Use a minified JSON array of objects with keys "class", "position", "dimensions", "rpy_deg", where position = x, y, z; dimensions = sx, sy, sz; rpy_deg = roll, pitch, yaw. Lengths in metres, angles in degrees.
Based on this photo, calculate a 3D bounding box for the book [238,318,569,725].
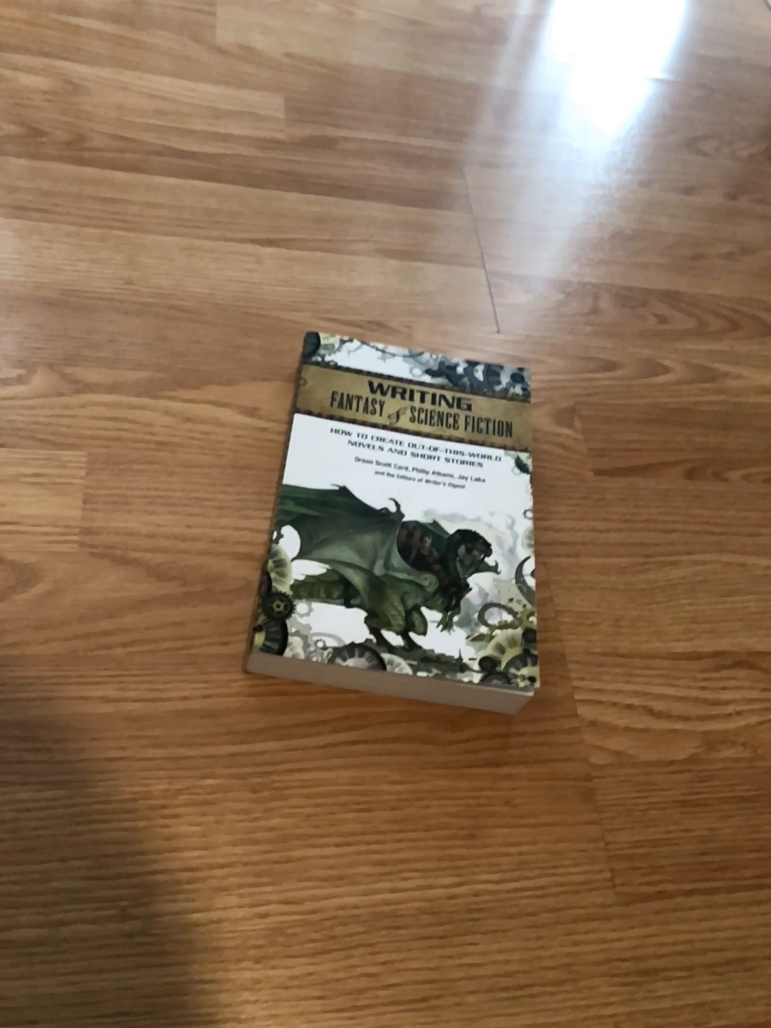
[{"class":"book","position":[0.015,-0.004,0.500],"dimensions":[0.165,0.040,0.228],"rpy_deg":[10,55,-8]}]
